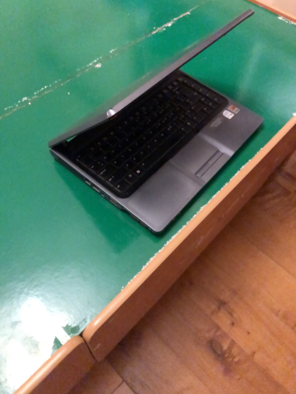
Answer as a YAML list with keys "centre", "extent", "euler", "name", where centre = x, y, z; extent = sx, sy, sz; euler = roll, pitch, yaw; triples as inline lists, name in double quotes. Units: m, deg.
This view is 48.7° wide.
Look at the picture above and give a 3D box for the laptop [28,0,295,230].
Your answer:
- centre: [0.030, -0.160, 0.521]
  extent: [0.227, 0.171, 0.317]
  euler: [36, 61, 18]
  name: "laptop"
